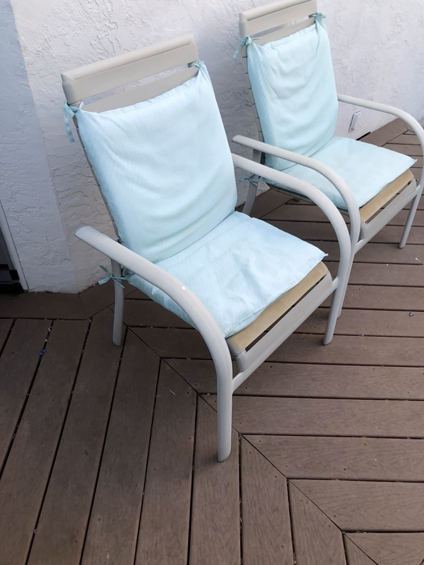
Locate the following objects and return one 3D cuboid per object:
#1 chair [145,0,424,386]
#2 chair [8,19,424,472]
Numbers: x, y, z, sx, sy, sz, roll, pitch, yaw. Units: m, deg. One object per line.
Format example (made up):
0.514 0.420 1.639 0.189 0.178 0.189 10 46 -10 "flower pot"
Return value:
0.344 -0.416 2.072 0.872 1.273 0.843 33 51 27 "chair"
0.019 -0.135 1.452 0.782 0.964 0.703 33 51 27 "chair"
